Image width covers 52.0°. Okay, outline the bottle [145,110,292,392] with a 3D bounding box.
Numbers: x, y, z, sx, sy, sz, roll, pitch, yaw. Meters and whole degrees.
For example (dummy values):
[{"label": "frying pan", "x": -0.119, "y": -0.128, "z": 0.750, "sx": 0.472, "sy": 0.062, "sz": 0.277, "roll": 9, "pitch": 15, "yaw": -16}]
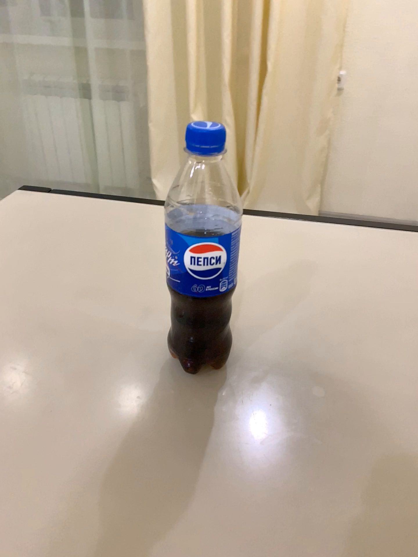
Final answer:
[{"label": "bottle", "x": 0.005, "y": -0.021, "z": 0.390, "sx": 0.080, "sy": 0.229, "sz": 0.080, "roll": 1, "pitch": 33, "yaw": -1}]
